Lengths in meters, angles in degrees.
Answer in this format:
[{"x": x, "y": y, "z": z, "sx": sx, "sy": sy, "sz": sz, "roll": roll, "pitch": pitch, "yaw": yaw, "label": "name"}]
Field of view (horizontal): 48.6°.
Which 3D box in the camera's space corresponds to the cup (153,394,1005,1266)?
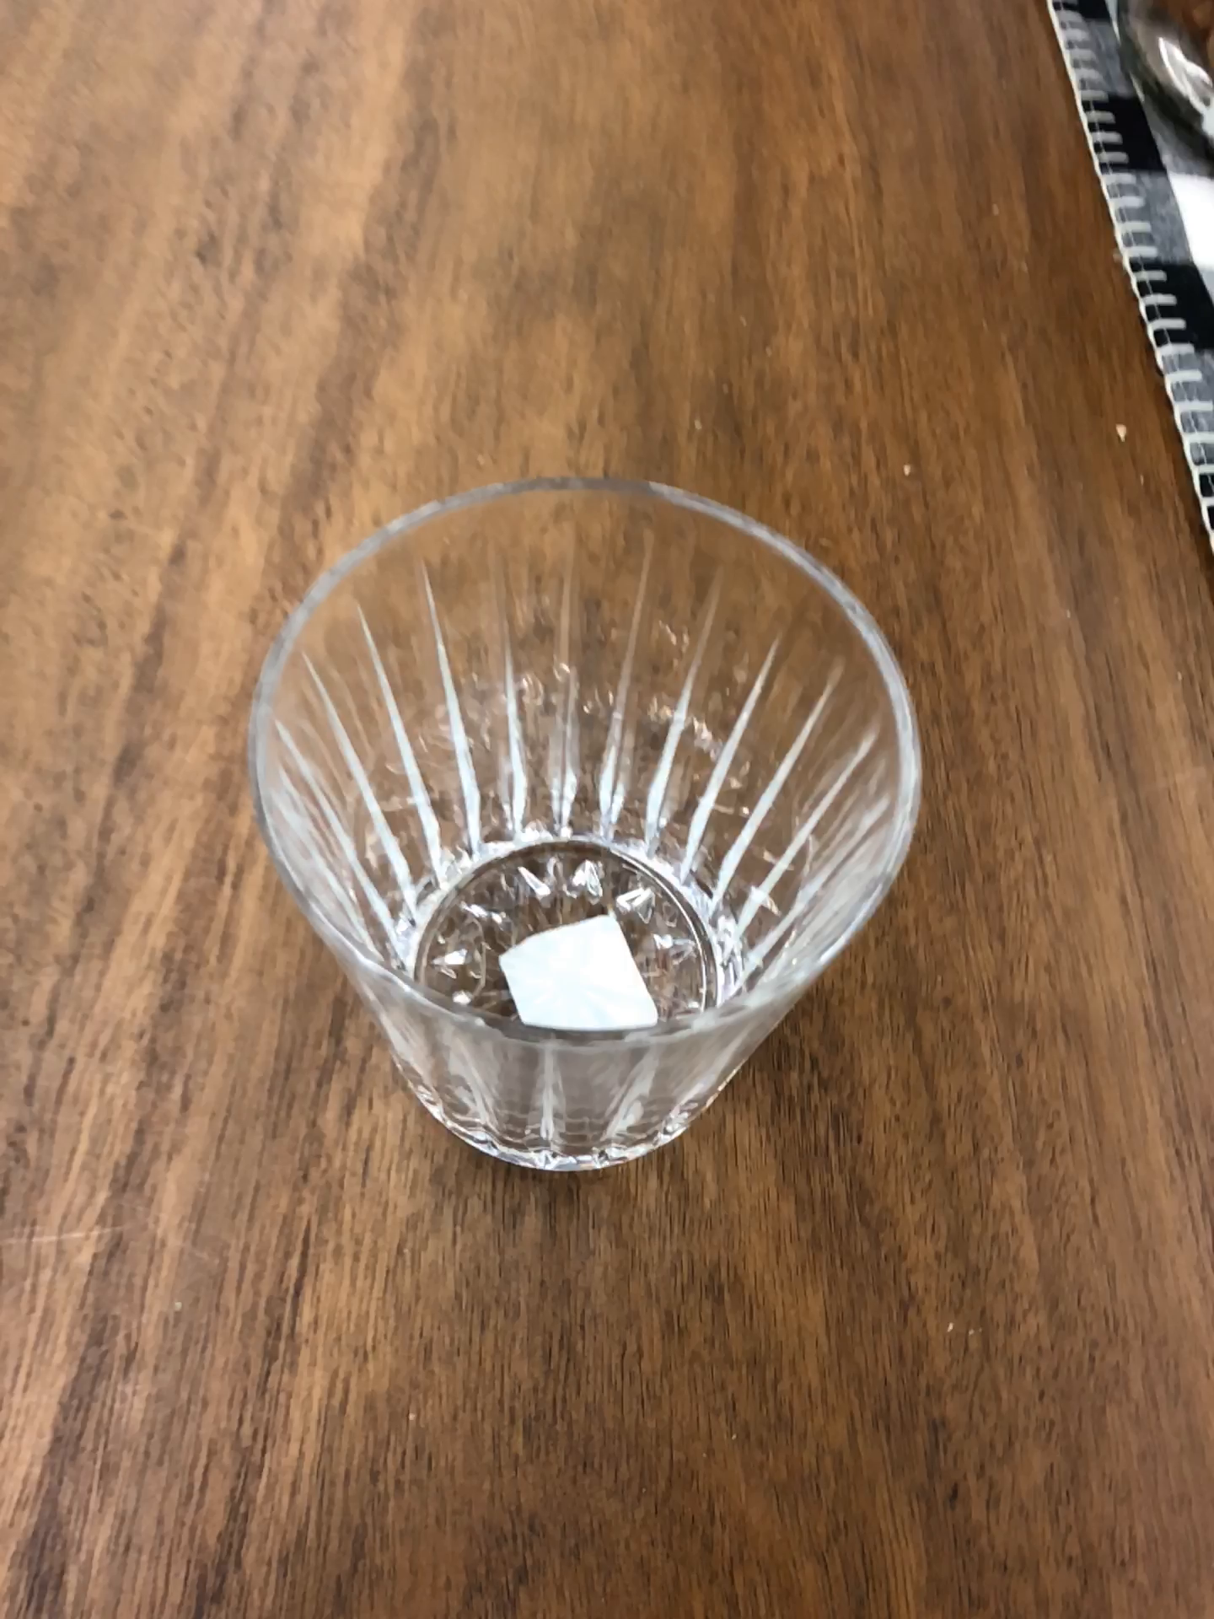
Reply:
[{"x": -0.001, "y": 0.007, "z": 0.228, "sx": 0.093, "sy": 0.093, "sz": 0.089, "roll": 1, "pitch": 60, "yaw": -2, "label": "cup"}]
